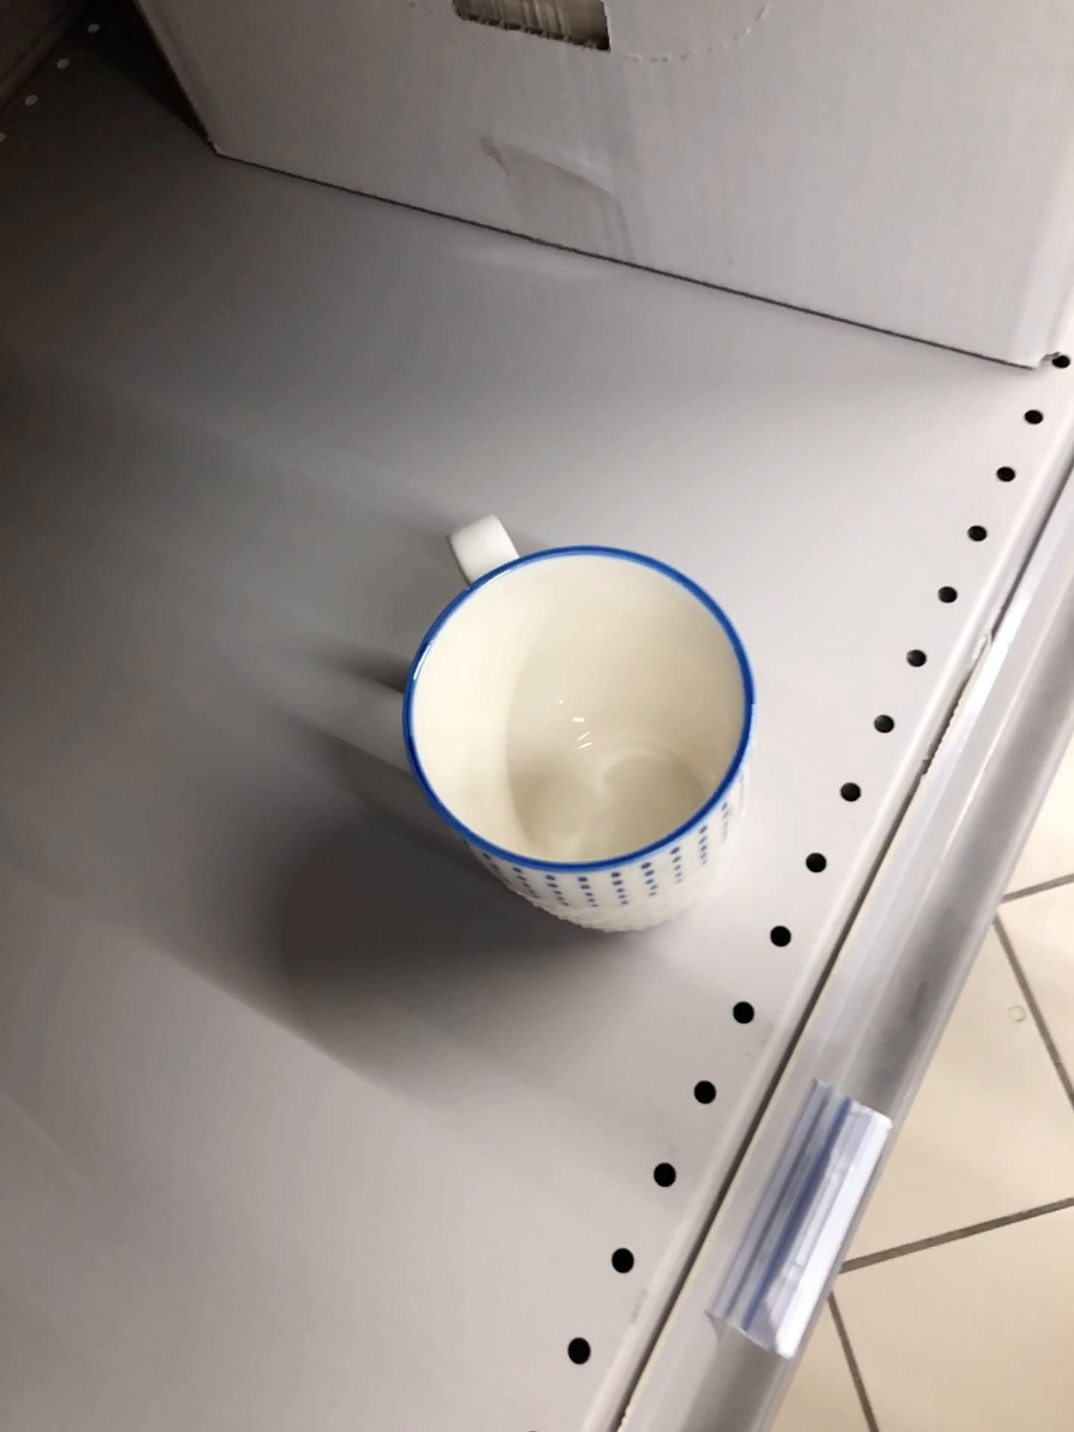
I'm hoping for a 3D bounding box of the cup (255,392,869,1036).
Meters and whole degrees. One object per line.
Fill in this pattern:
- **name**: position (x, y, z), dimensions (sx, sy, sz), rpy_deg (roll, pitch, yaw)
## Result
- **cup**: position (0.009, 0.003, 0.327), dimensions (0.096, 0.096, 0.119), rpy_deg (-38, 66, -7)
